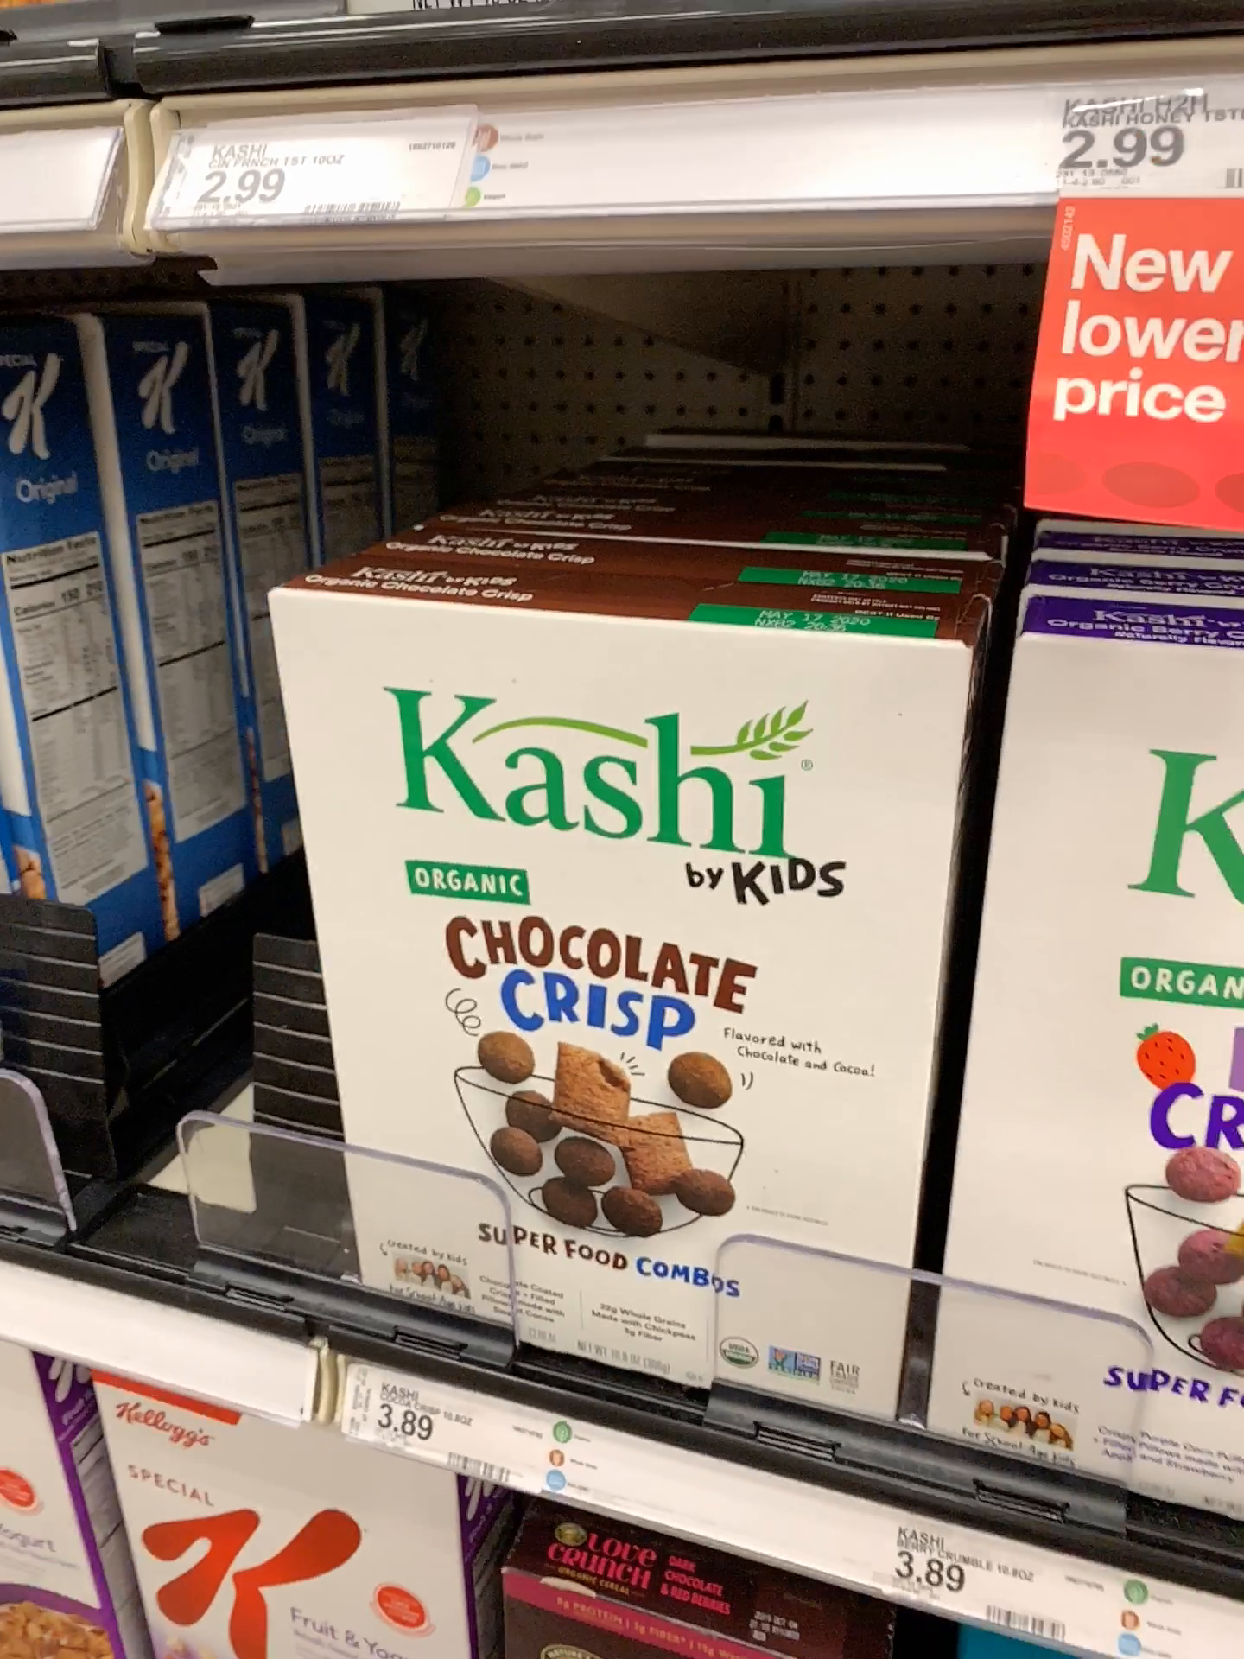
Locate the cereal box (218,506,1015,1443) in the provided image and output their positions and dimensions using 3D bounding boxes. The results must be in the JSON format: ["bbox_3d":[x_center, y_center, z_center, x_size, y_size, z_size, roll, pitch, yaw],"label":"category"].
[{"bbox_3d":[0.000,0.043,0.391,0.200,0.259,0.060,7,26,18],"label":"cereal box"}]
